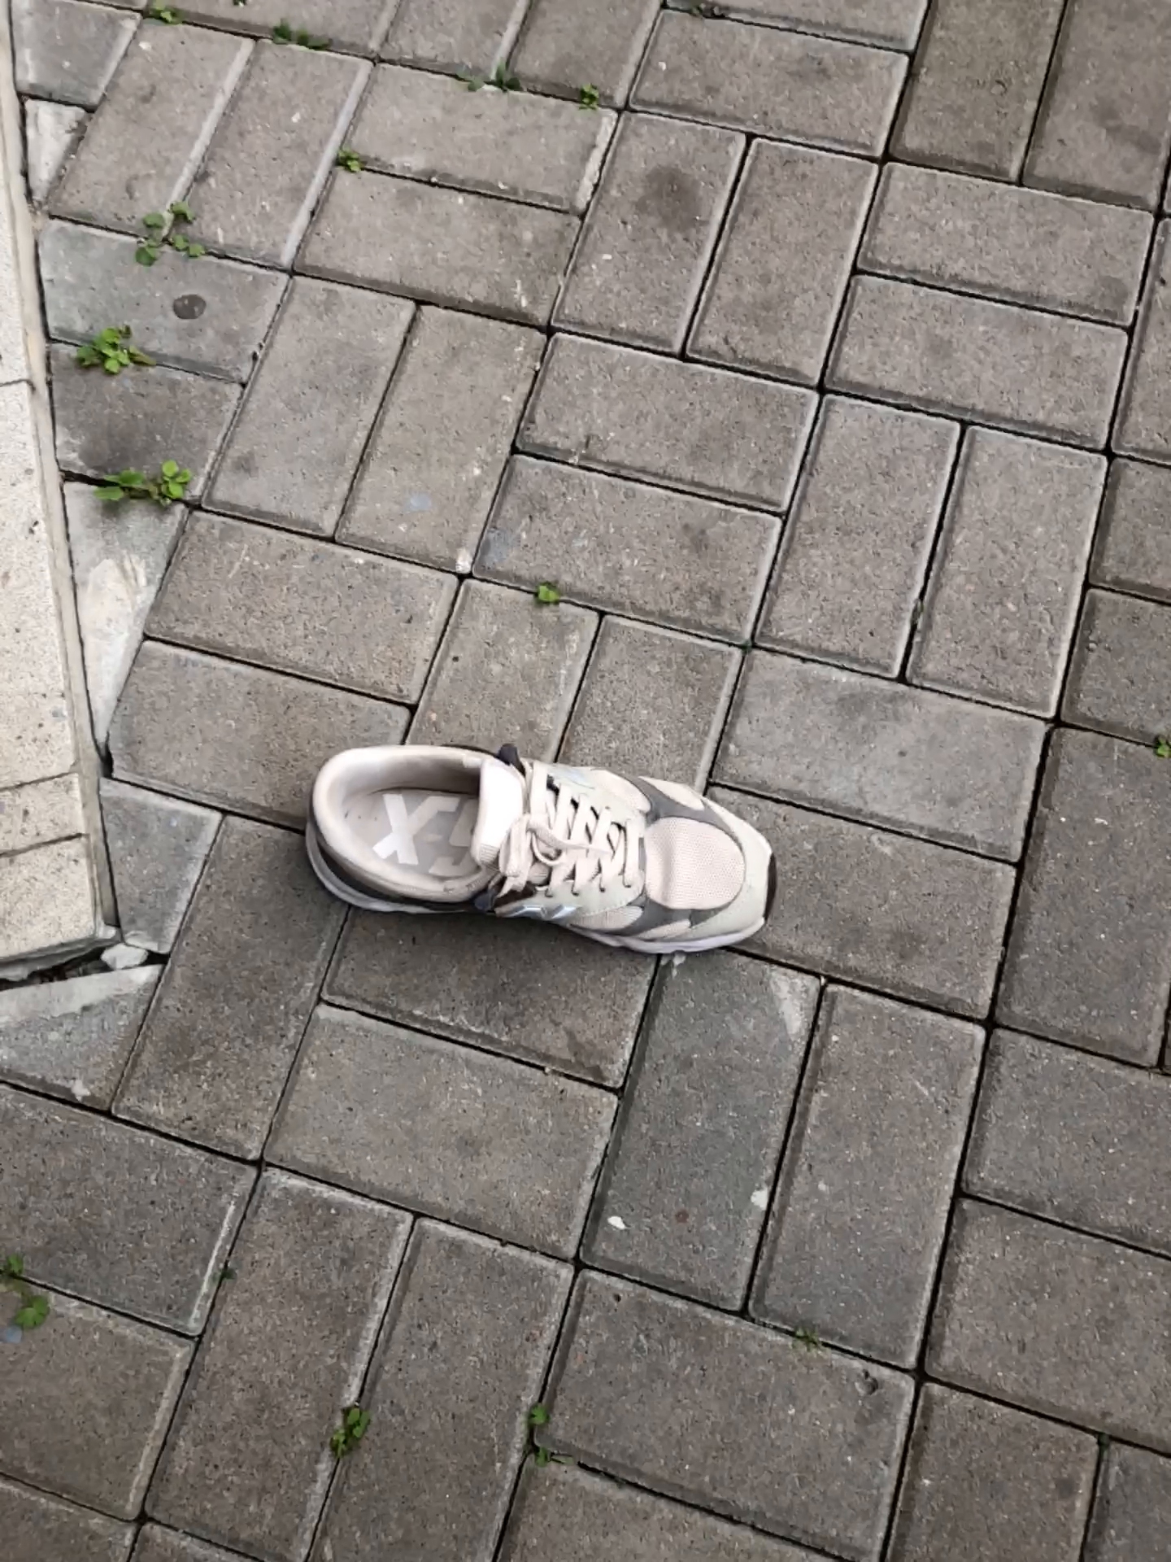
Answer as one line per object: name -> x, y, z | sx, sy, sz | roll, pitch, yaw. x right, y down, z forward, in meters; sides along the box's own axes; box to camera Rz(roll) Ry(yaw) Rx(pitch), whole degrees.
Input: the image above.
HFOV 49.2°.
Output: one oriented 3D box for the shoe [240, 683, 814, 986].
shoe -> -0.028, 0.033, 0.749 | 0.300, 0.110, 0.120 | 7, 75, 7
